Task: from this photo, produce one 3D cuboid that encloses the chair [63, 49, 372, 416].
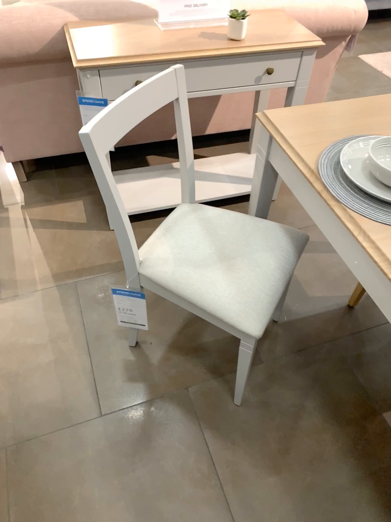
[{"bbox_3d":[0.055,-0.044,1.165,0.508,0.832,0.464,24,51,19],"label":"chair"}]
